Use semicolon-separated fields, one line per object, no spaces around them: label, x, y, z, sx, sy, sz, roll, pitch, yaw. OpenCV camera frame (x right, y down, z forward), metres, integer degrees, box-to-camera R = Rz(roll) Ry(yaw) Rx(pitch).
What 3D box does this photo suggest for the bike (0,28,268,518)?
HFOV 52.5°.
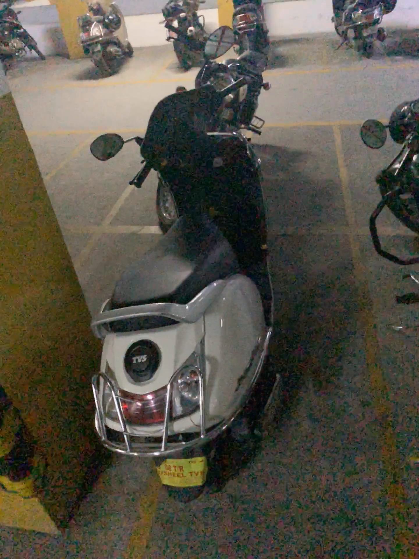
bike;-0.097;-0.151;1.762;0.648;1.159;1.537;0;41;9
